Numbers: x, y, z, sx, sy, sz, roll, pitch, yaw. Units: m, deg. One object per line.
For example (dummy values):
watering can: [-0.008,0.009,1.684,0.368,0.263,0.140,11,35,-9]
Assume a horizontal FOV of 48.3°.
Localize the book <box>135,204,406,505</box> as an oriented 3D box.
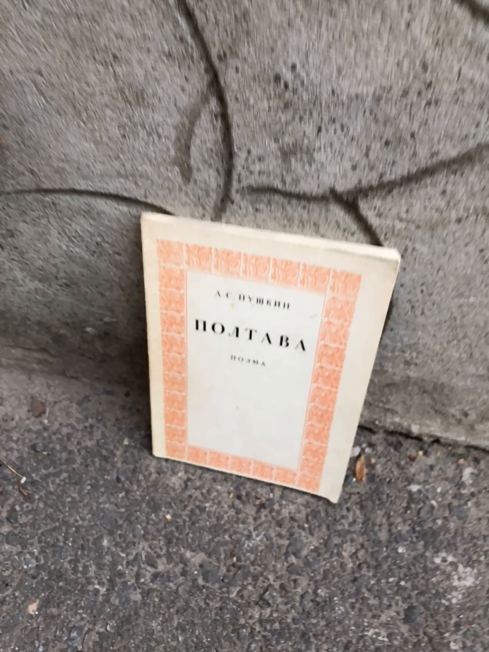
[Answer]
book: [0.007,0.029,0.361,0.150,0.199,0.020,12,36,10]
